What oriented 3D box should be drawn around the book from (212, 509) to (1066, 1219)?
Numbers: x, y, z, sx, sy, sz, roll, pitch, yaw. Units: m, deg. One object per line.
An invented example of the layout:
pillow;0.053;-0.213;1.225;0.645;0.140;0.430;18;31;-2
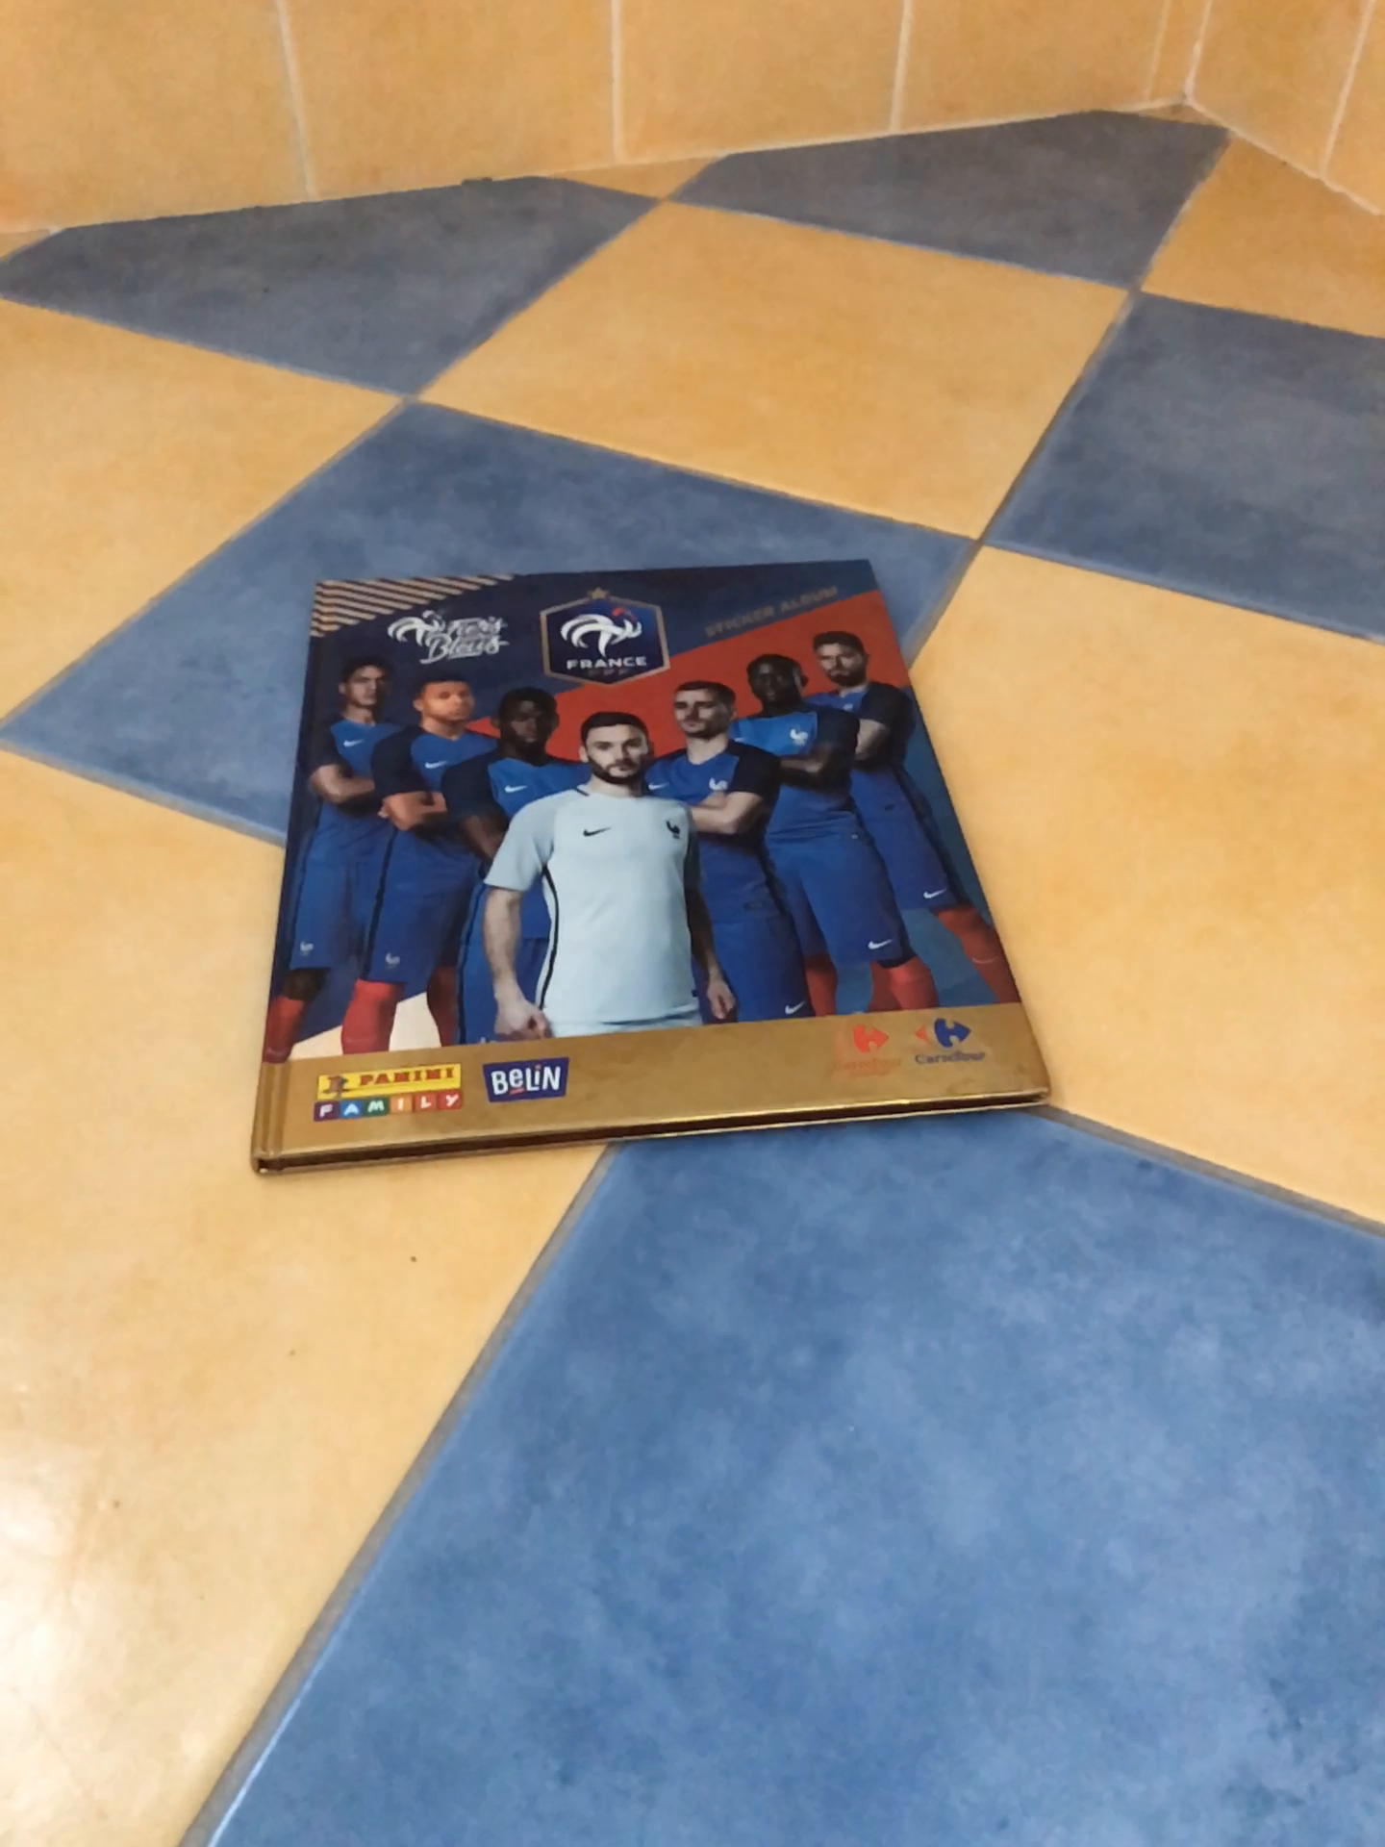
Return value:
book;-0.030;-0.048;0.550;0.240;0.030;0.322;-4;45;-5
